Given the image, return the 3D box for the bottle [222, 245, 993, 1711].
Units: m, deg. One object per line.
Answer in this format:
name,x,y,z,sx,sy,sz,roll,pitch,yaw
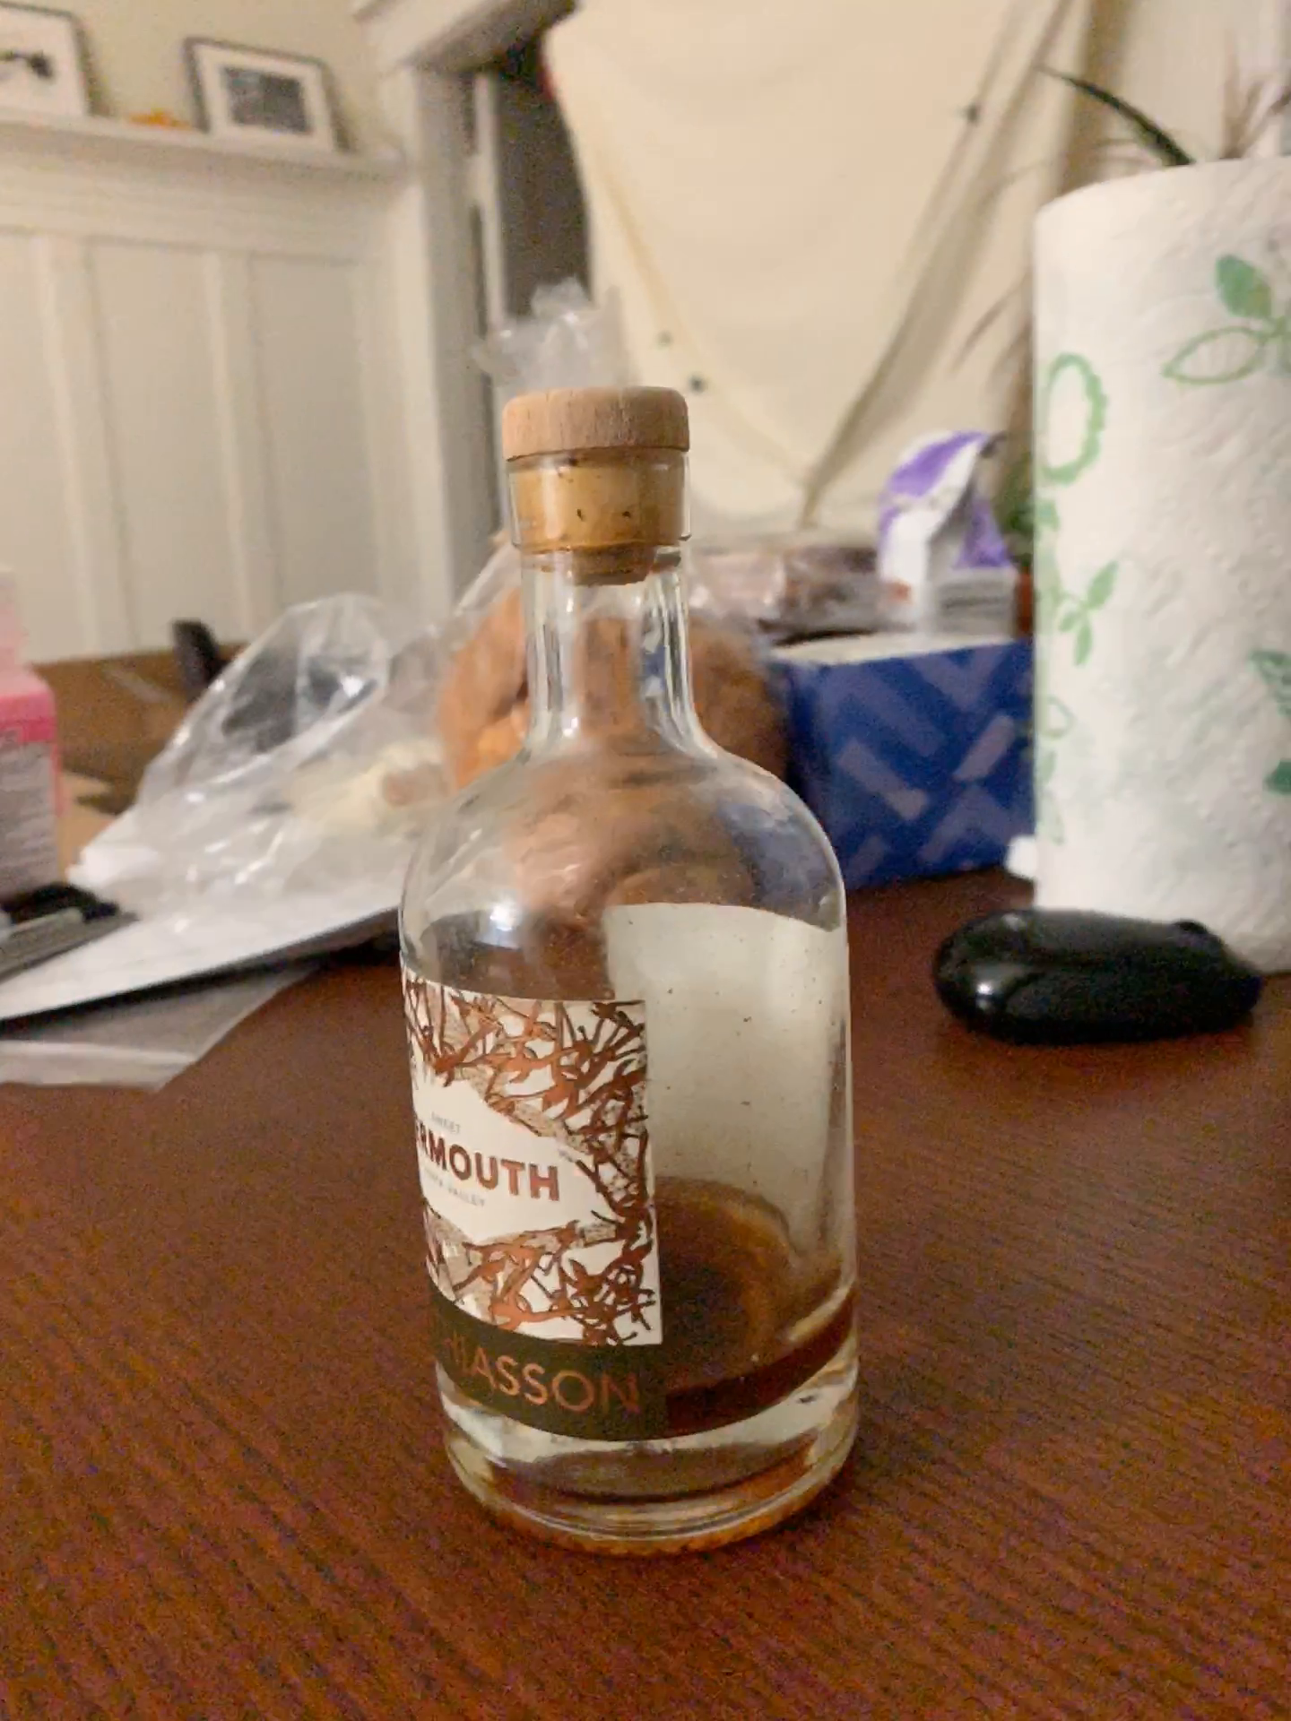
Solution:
bottle,-0.004,0.012,0.227,0.080,0.189,0.090,-13,15,-41
